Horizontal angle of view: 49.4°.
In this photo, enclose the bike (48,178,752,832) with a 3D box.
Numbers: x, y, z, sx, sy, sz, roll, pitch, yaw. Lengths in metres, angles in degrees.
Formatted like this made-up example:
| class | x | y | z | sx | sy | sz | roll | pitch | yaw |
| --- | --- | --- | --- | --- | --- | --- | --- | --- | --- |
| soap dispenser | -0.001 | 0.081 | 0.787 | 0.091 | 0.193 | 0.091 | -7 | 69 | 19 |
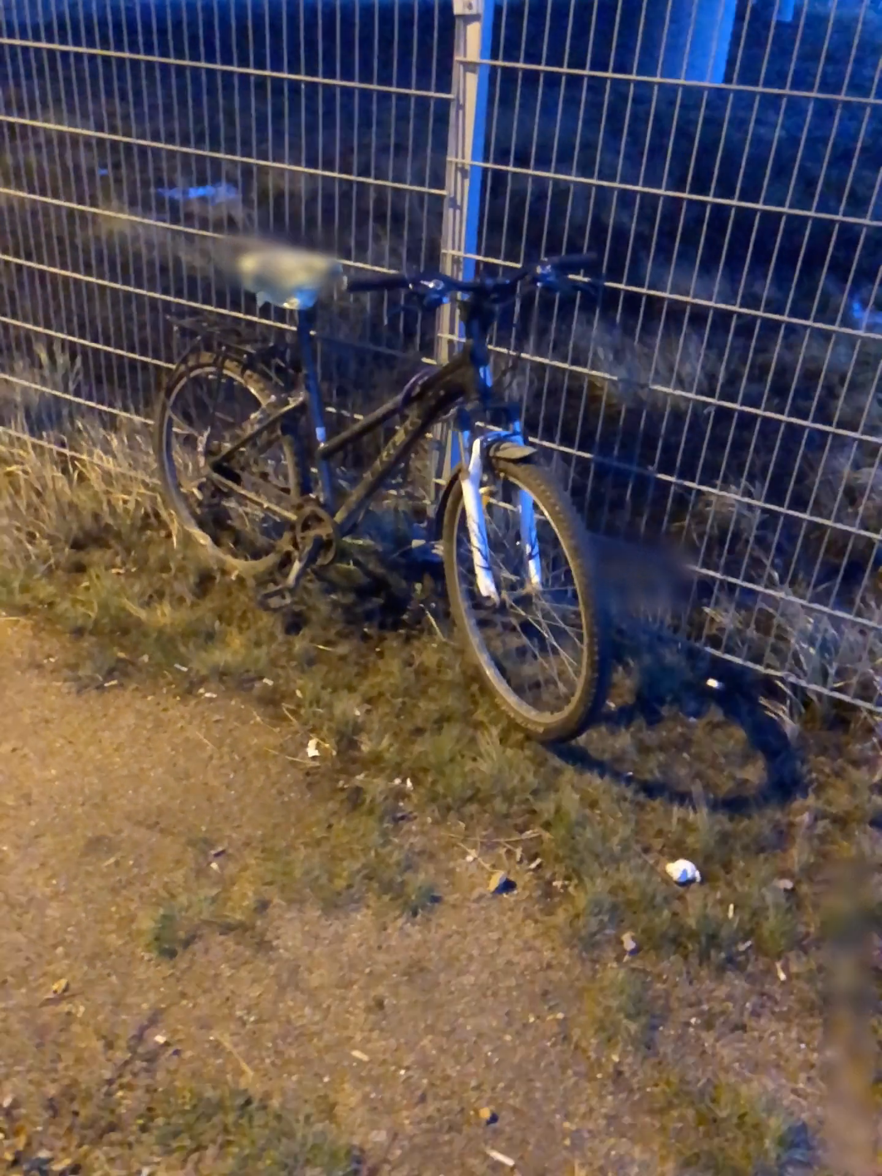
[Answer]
| class | x | y | z | sx | sy | sz | roll | pitch | yaw |
| --- | --- | --- | --- | --- | --- | --- | --- | --- | --- |
| bike | -0.219 | -0.340 | 2.240 | 1.588 | 0.947 | 0.571 | 28 | 39 | 37 |
